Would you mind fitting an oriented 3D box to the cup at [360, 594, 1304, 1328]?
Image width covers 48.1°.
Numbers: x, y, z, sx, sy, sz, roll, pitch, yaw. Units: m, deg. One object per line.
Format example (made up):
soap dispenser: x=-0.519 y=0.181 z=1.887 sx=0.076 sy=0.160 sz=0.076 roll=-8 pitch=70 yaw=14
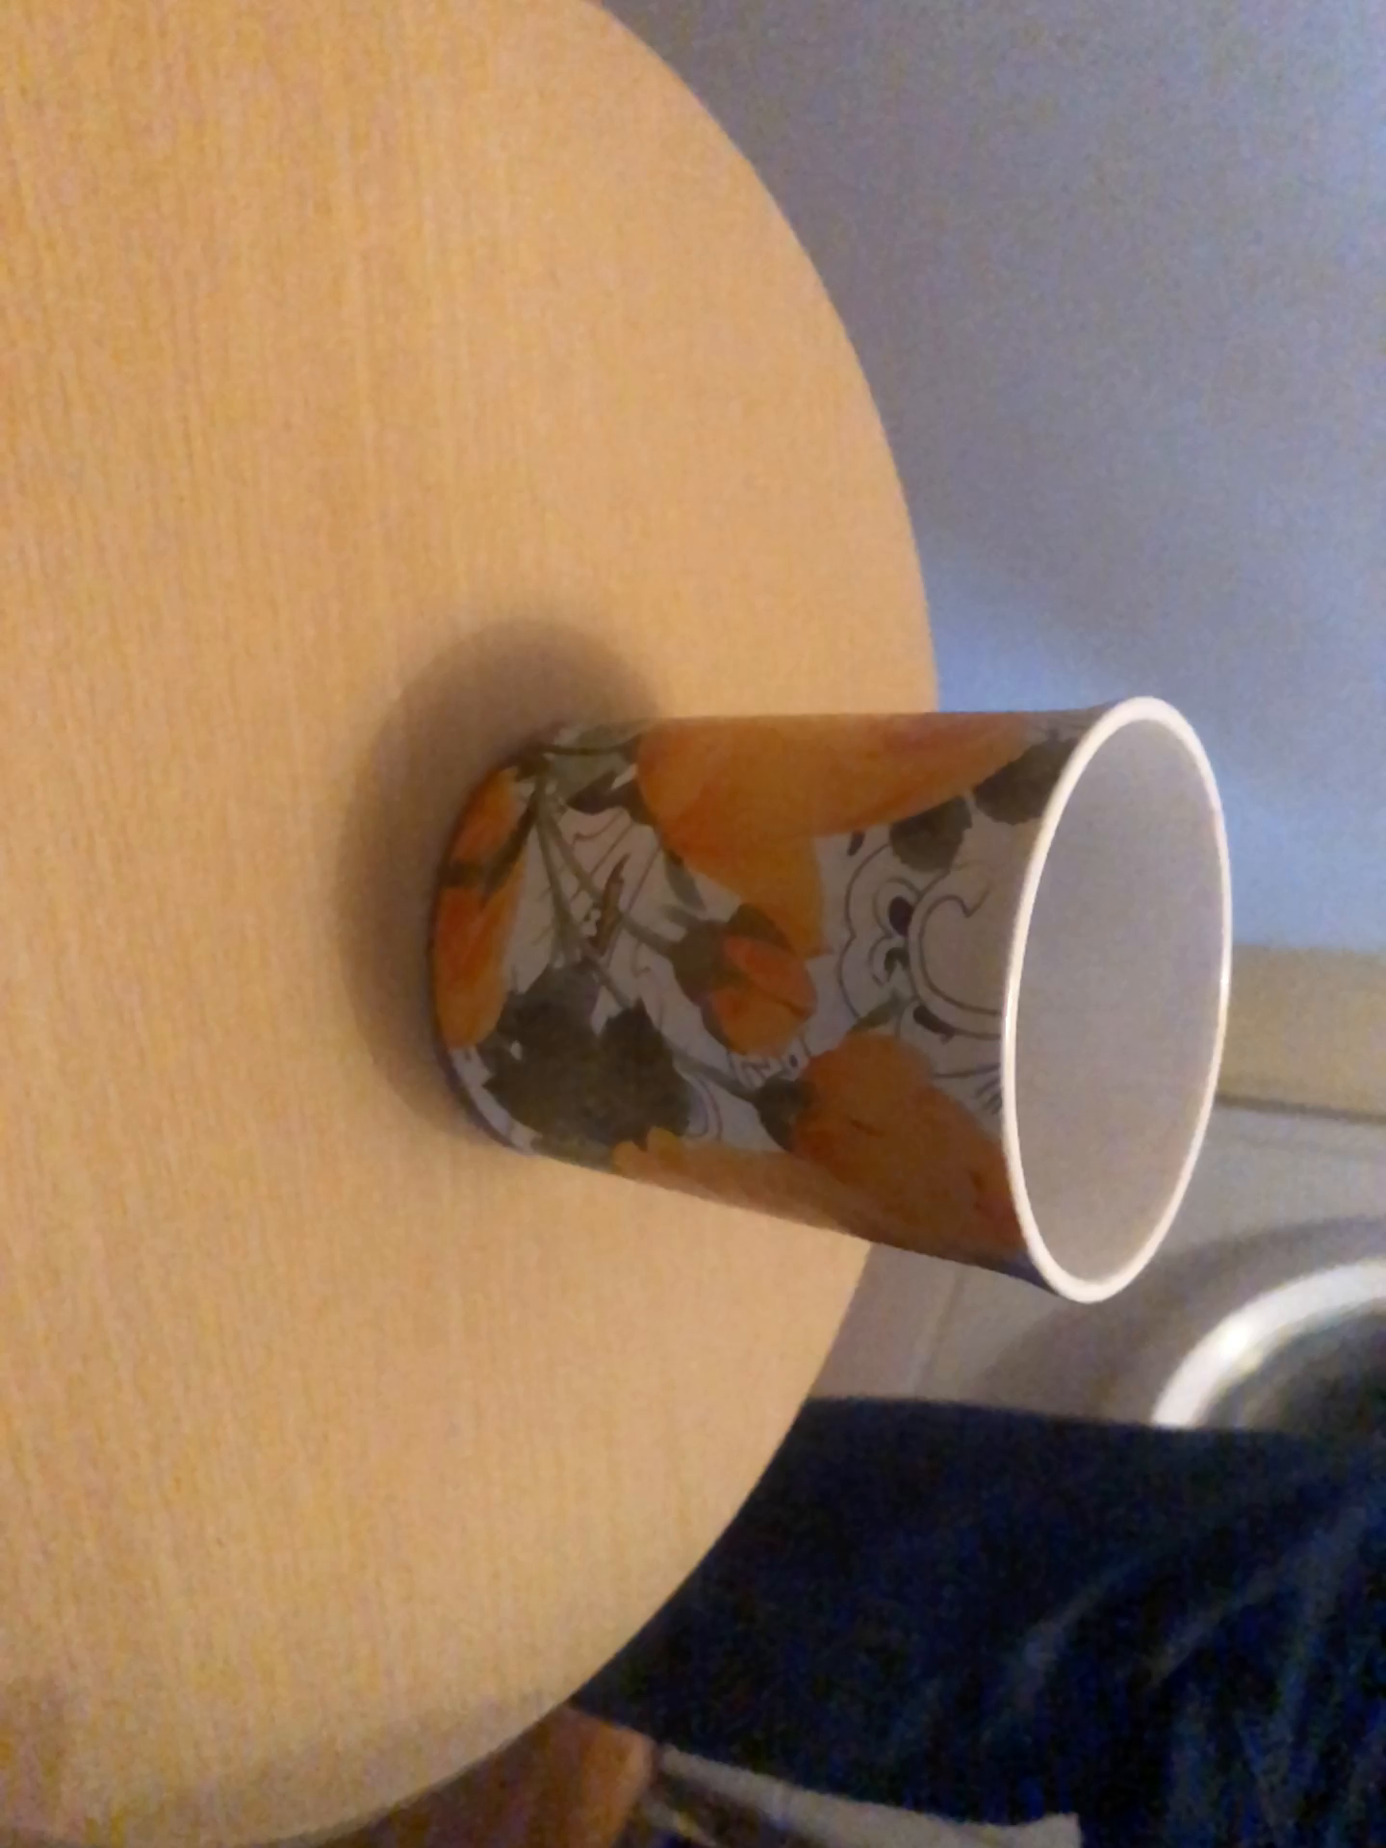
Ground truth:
cup: x=0.028 y=0.007 z=0.246 sx=0.111 sy=0.097 sz=0.082 roll=11 pitch=85 yaw=-53
